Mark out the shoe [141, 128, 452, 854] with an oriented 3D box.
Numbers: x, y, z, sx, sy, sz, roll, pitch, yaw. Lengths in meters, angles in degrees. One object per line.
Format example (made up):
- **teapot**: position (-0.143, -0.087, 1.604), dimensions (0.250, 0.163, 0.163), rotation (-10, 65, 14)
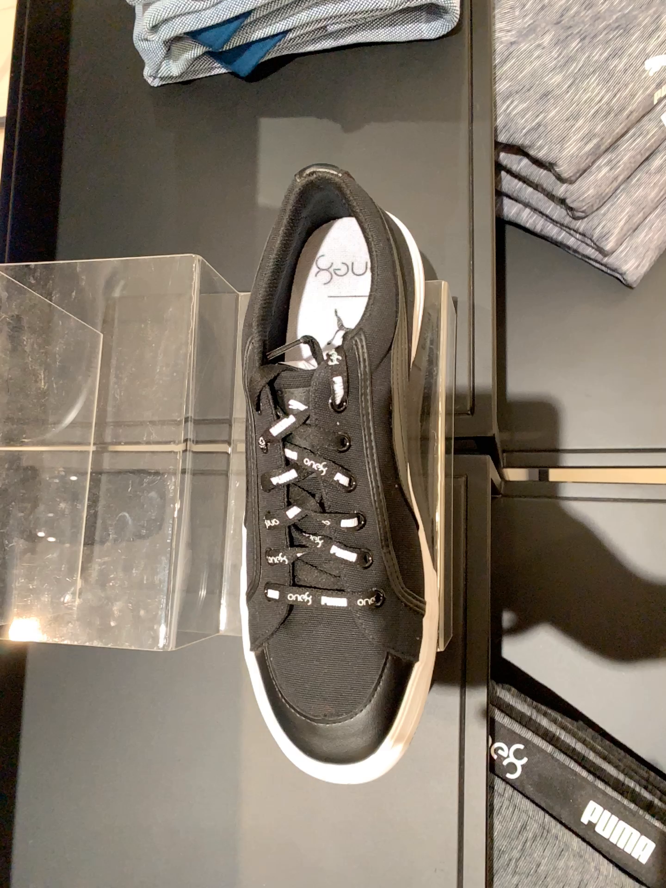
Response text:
- **shoe**: position (-0.006, 0.015, 0.326), dimensions (0.110, 0.100, 0.280), rotation (0, 82, 16)
